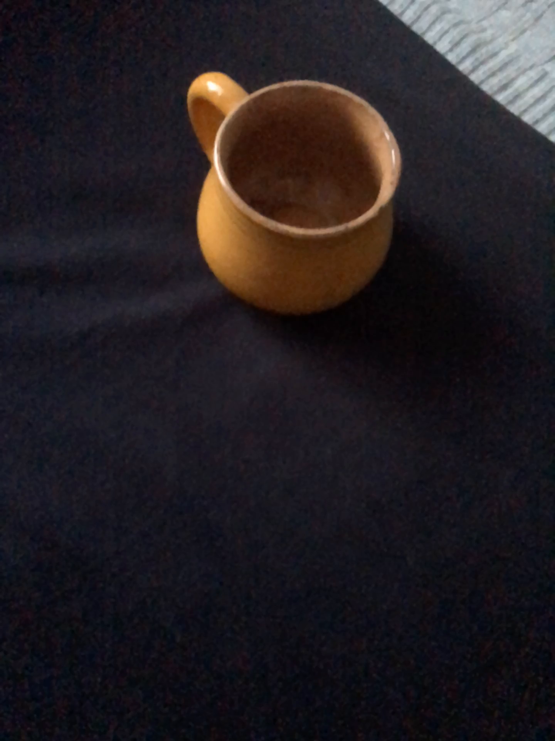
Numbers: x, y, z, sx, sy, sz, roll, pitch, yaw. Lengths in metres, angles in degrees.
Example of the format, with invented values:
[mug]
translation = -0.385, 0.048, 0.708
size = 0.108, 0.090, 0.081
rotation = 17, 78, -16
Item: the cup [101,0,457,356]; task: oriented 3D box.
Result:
[cup]
translation = -0.003, -0.084, 0.263
size = 0.082, 0.058, 0.119
rotation = -32, 76, -18
